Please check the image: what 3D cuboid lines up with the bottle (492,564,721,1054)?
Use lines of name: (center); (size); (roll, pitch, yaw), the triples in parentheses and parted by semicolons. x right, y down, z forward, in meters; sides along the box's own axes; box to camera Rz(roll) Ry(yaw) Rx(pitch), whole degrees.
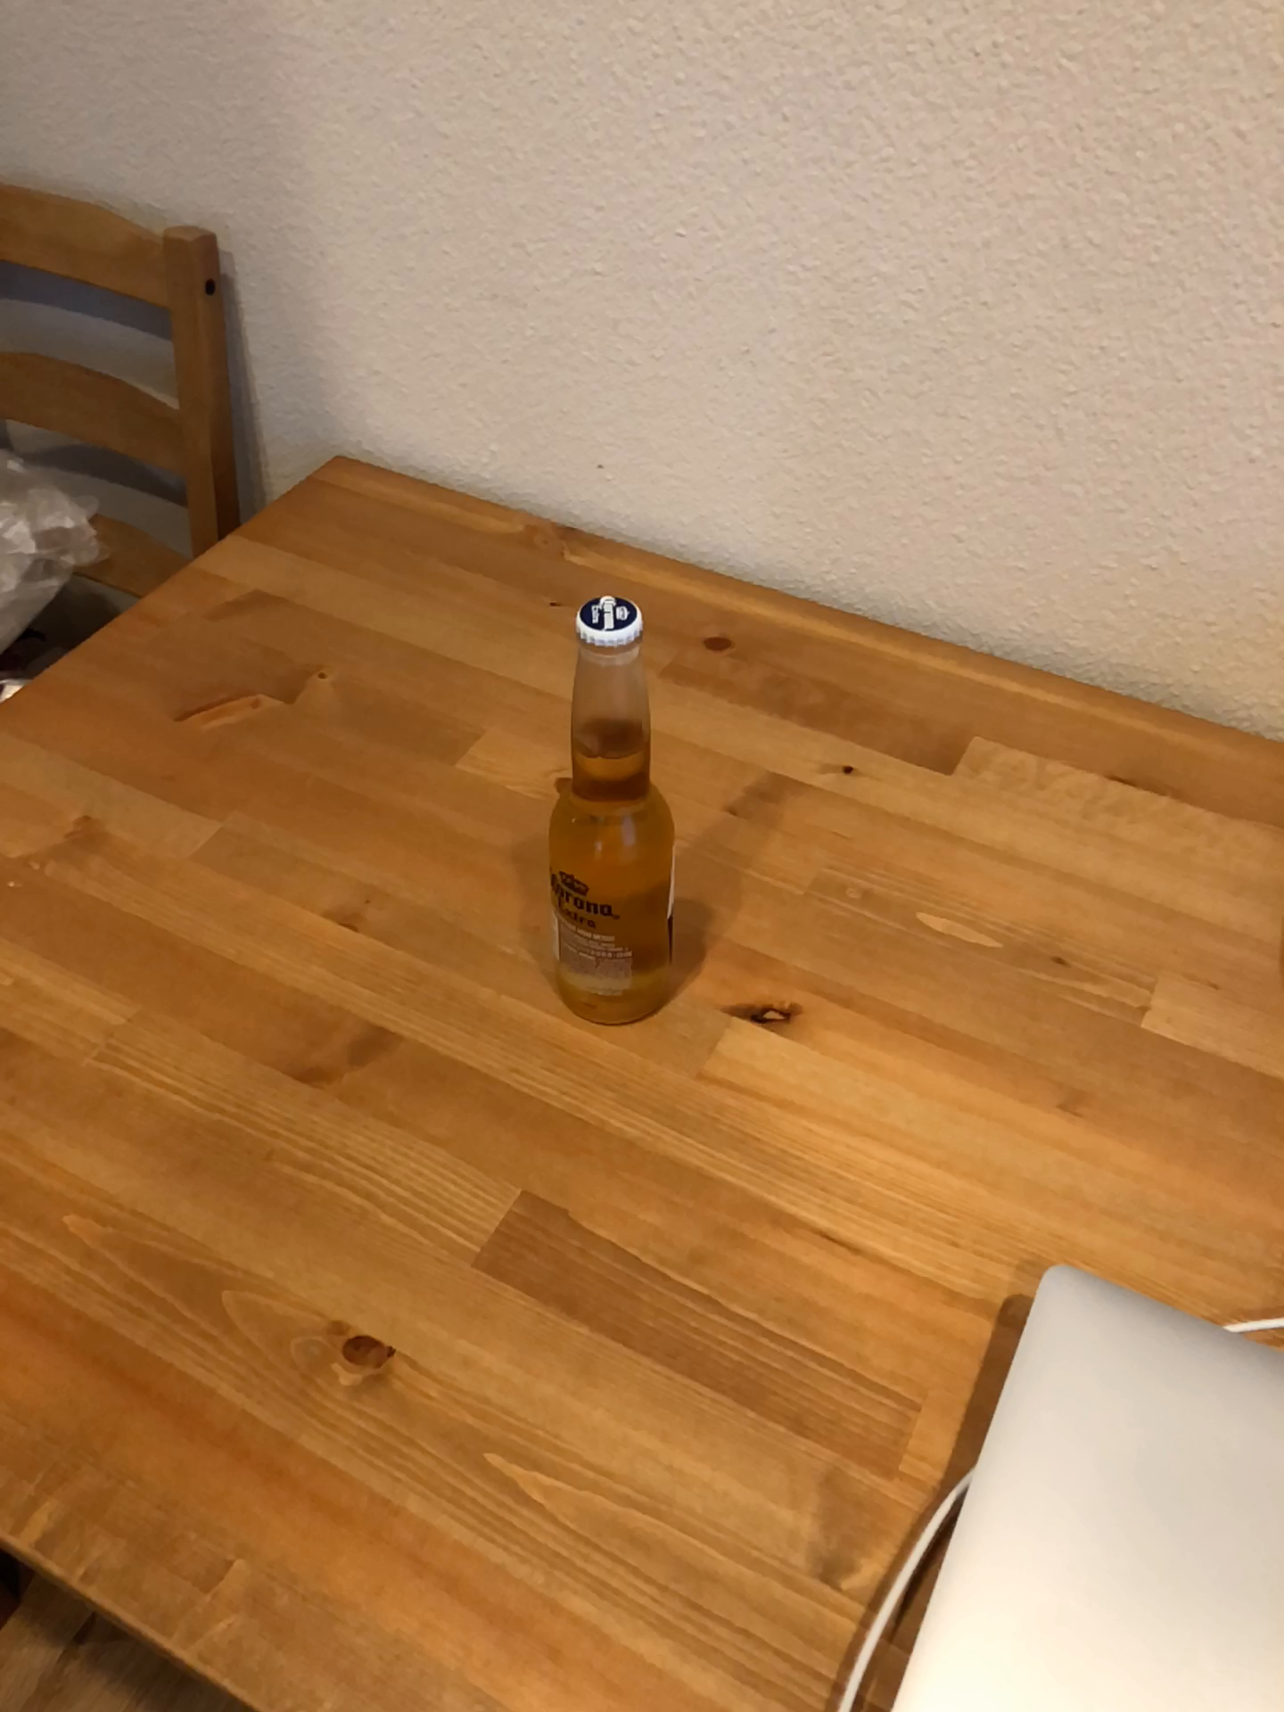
bottle: (-0.016, -0.015, 0.679); (0.070, 0.229, 0.070); (0, 44, 0)
